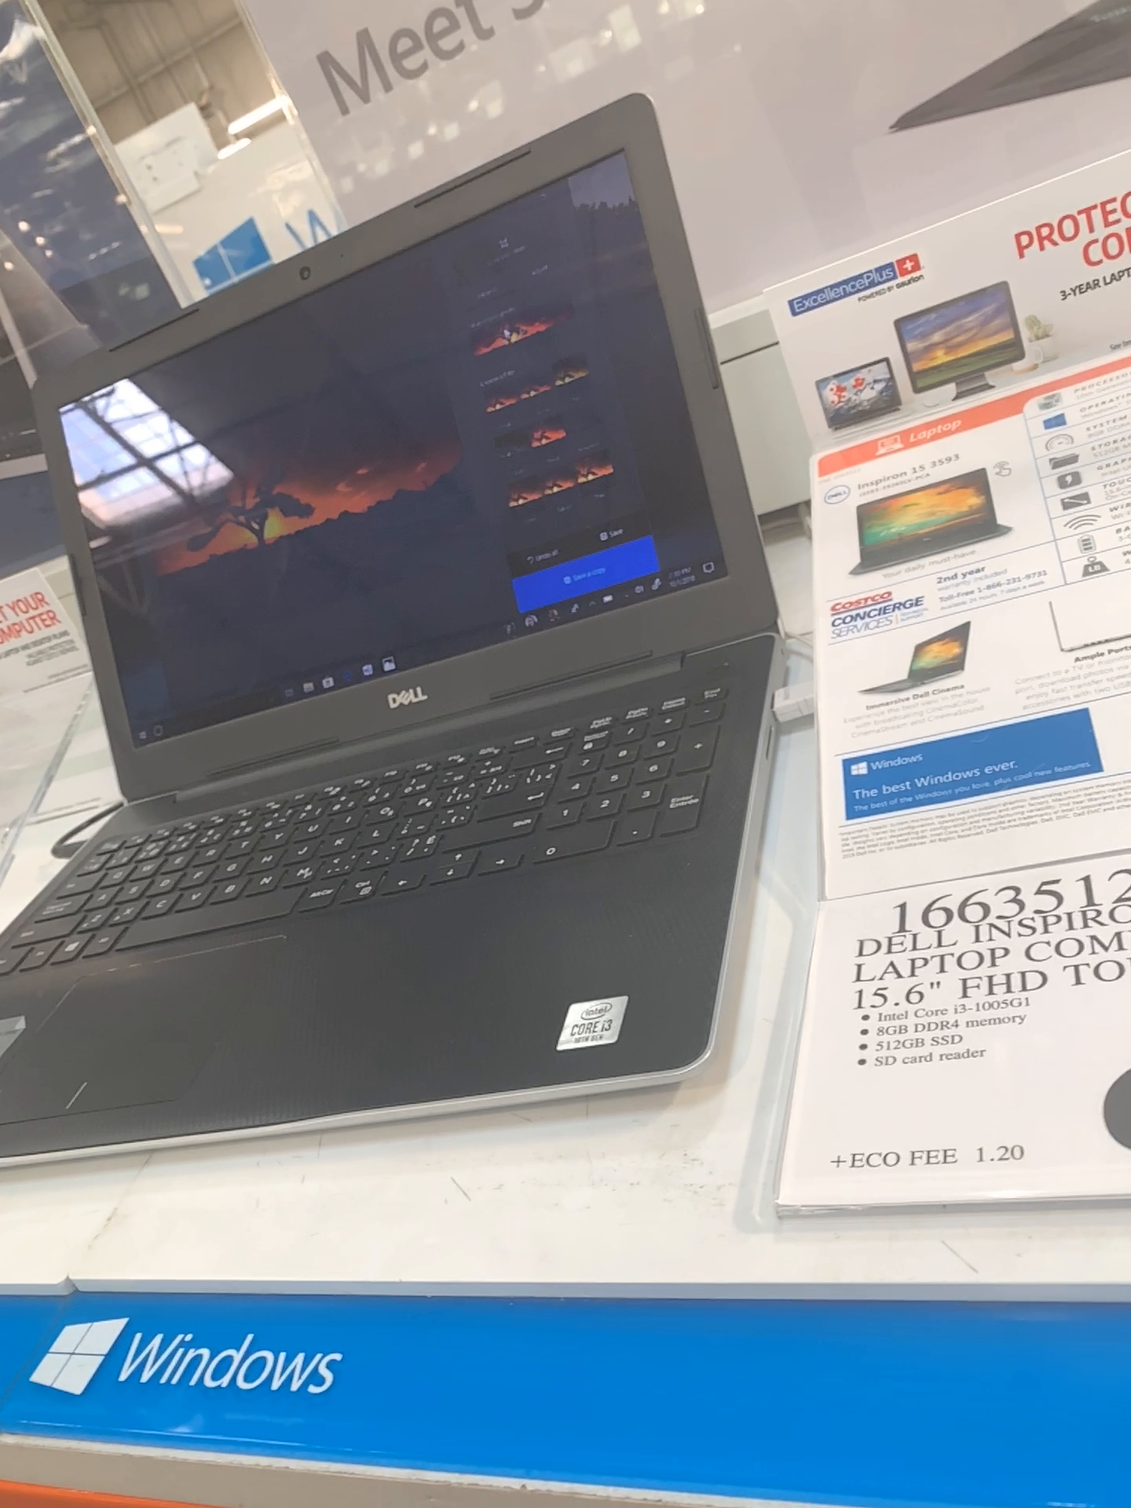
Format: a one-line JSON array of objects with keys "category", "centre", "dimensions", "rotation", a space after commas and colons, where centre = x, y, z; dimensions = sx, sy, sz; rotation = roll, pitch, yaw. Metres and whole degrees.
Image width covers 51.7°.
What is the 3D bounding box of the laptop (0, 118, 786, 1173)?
[{"category": "laptop", "centre": [-0.130, -0.059, 0.456], "dimensions": [0.357, 0.205, 0.343], "rotation": [-14, 26, 22]}]
